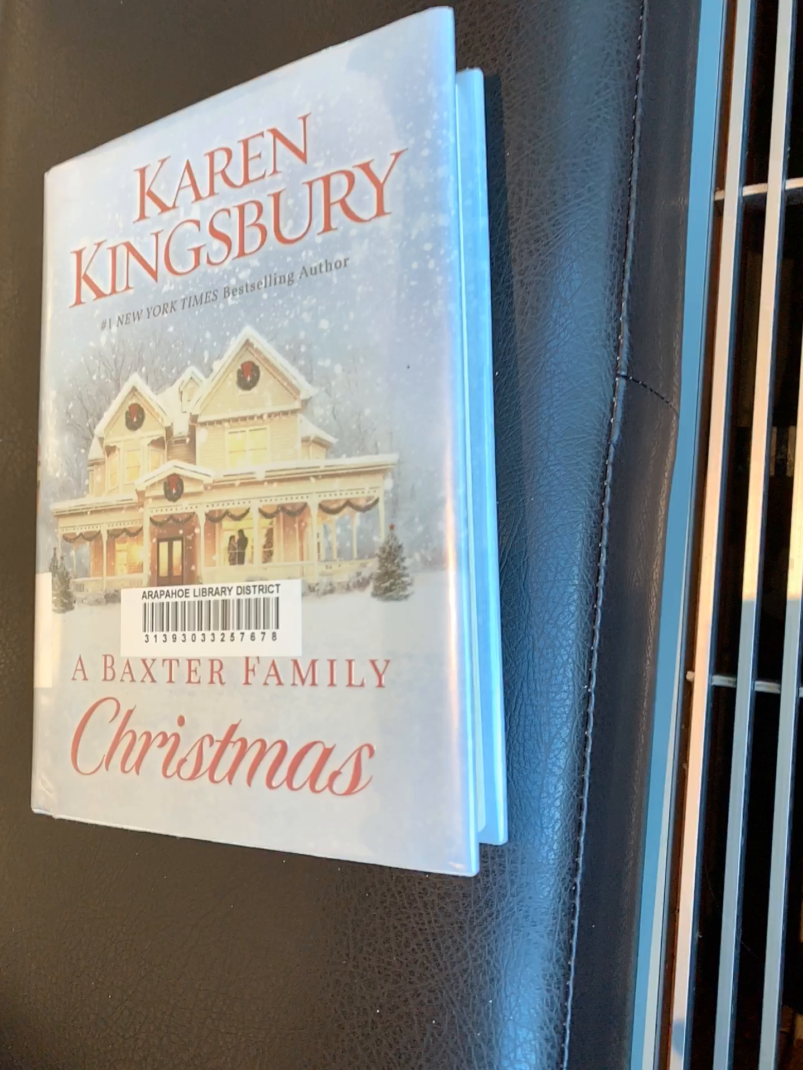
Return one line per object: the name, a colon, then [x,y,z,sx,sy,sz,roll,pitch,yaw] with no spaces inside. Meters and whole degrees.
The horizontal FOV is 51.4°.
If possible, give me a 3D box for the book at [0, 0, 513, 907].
book: [-0.044,-0.018,0.201,0.135,0.023,0.180,-4,85,30]
